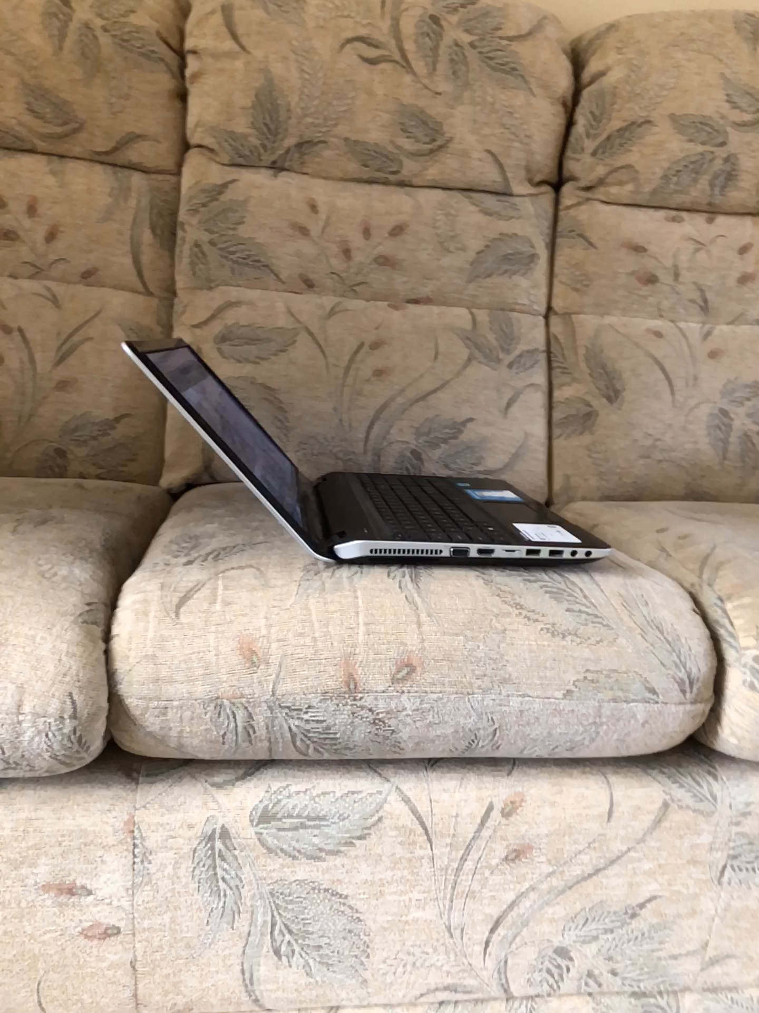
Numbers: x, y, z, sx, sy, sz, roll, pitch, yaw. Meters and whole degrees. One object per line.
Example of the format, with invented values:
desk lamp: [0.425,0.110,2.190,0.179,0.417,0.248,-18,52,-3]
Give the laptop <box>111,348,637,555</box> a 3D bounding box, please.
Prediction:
laptop: [-0.017,-0.072,0.862,0.410,0.151,0.397,2,11,-8]
